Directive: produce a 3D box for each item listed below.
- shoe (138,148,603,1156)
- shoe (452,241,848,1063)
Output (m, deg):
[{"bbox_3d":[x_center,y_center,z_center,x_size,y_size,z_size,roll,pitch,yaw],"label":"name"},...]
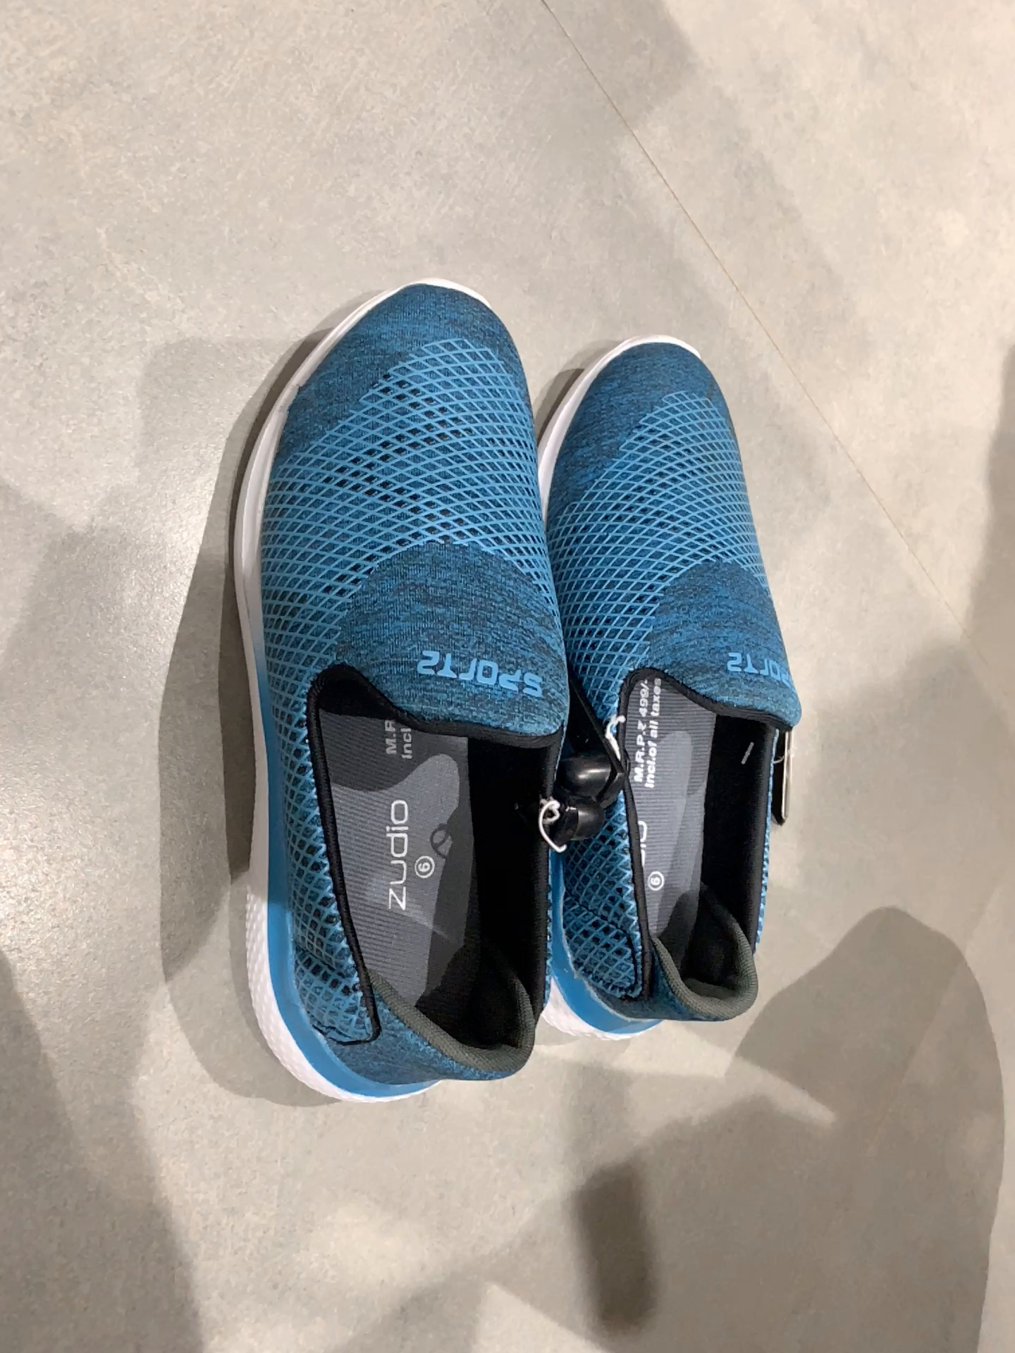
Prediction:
[{"bbox_3d":[-0.042,-0.005,0.329,0.110,0.080,0.260,6,83,-31],"label":"shoe"},{"bbox_3d":[0.052,-0.004,0.369,0.090,0.080,0.250,10,81,-31],"label":"shoe"}]
